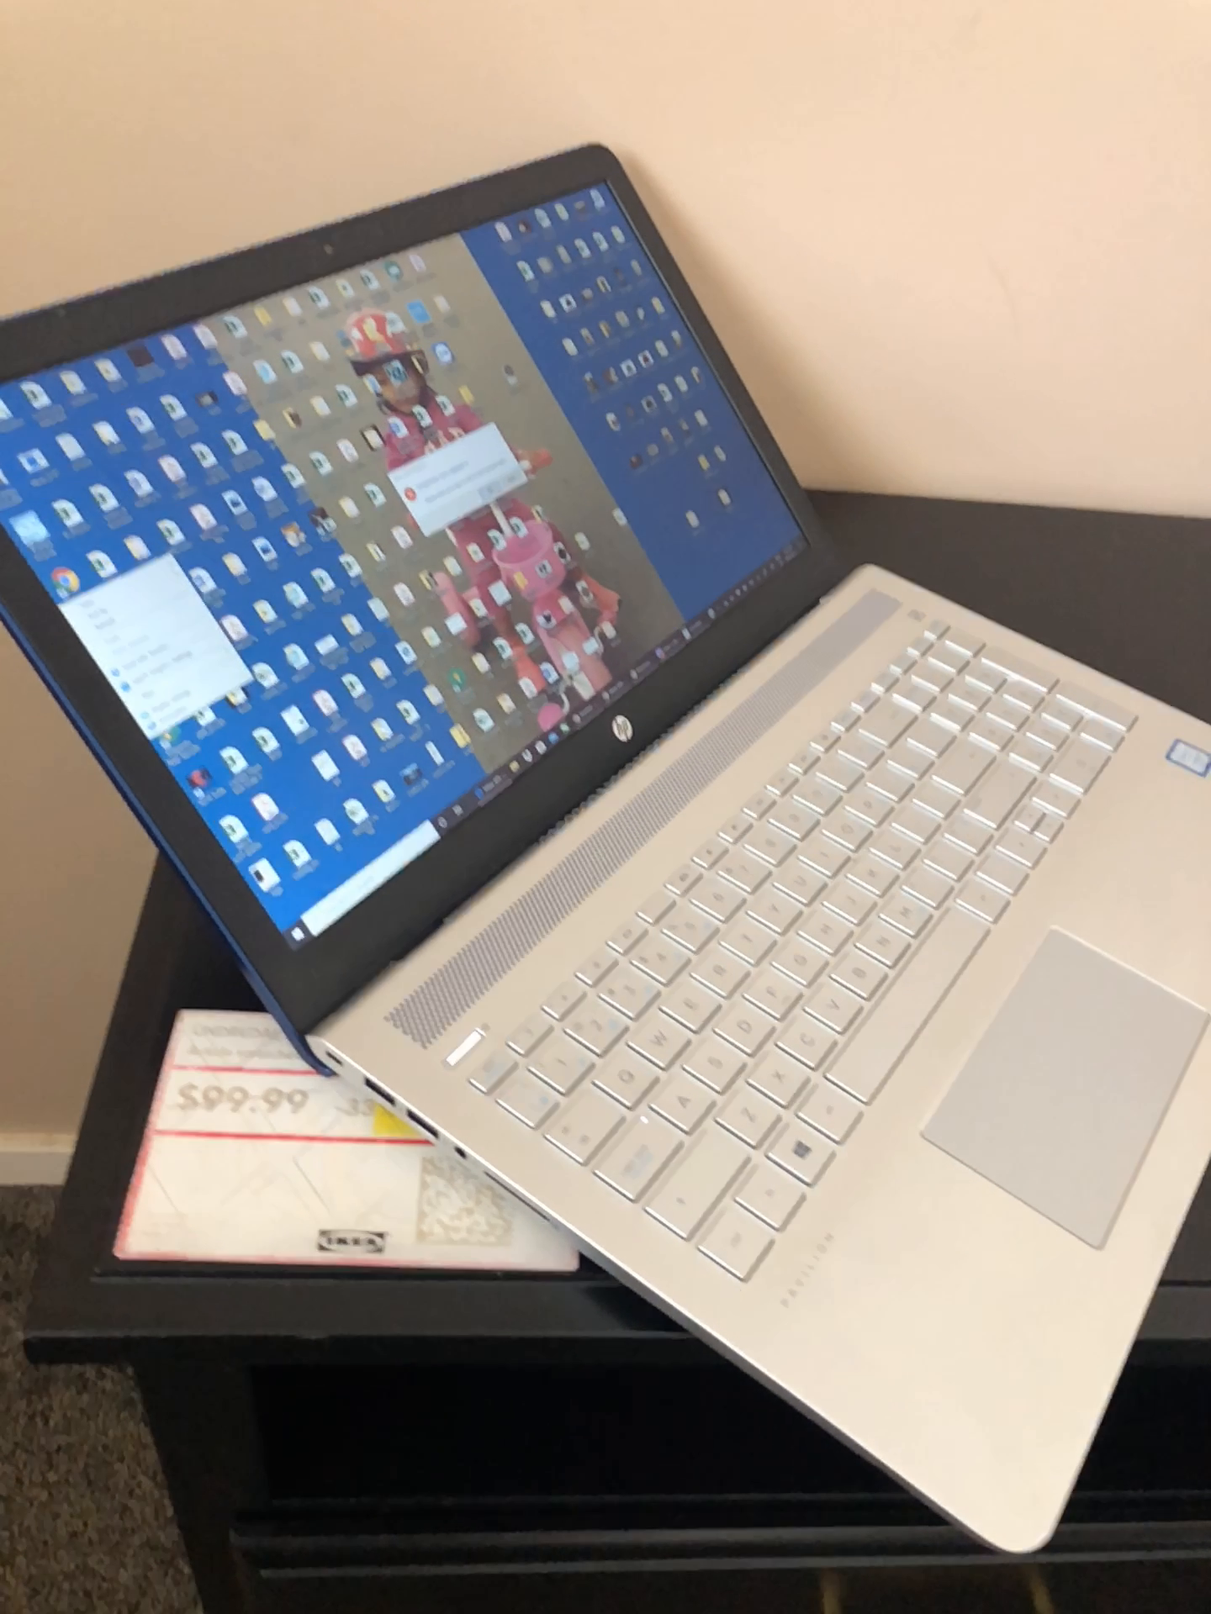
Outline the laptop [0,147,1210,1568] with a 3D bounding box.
[{"bbox_3d":[0.053,-0.059,0.461,0.401,0.141,0.367,31,46,20],"label":"laptop"}]
